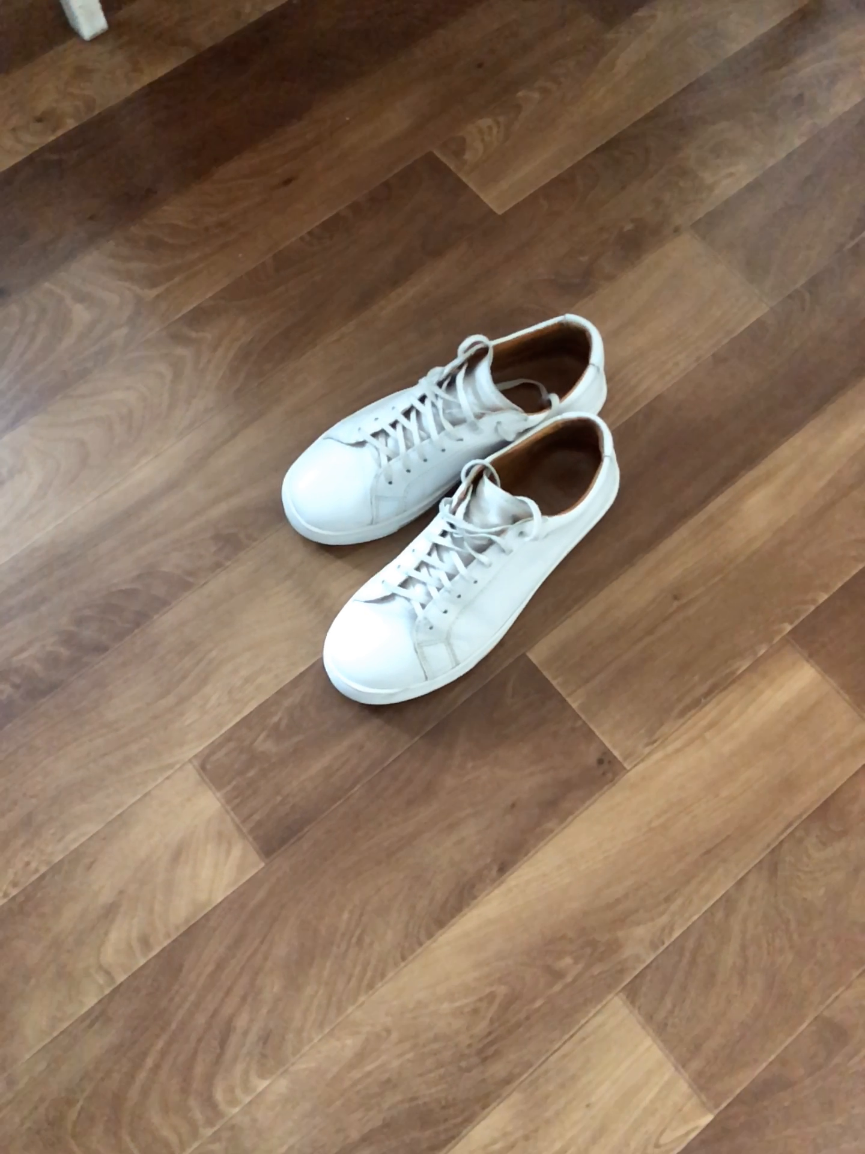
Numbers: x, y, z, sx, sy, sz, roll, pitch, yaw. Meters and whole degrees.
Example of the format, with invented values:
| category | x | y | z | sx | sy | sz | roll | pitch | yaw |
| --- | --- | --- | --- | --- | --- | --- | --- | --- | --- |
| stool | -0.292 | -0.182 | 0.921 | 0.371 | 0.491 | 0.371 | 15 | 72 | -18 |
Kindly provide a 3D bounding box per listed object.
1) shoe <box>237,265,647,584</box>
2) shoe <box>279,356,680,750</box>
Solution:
| category | x | y | z | sx | sy | sz | roll | pitch | yaw |
| --- | --- | --- | --- | --- | --- | --- | --- | --- | --- |
| shoe | 0.008 | -0.116 | 0.734 | 0.280 | 0.090 | 0.110 | -26 | 73 | -7 |
| shoe | 0.037 | -0.017 | 0.696 | 0.280 | 0.090 | 0.110 | -43 | 76 | -12 |
